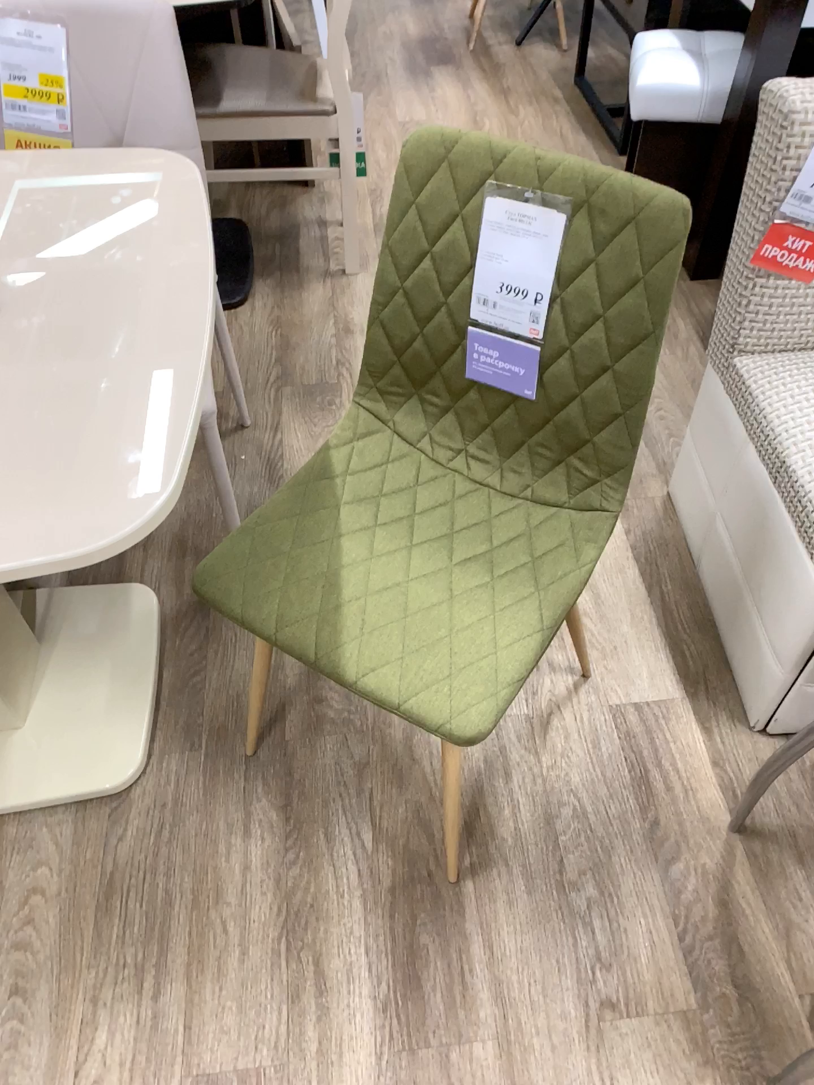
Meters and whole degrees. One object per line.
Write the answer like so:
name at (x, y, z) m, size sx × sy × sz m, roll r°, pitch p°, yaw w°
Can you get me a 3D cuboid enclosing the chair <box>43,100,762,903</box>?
chair at (0.029, -0.021, 1.153) m, size 0.501 × 0.836 × 0.562 m, roll 25°, pitch 54°, yaw 21°
